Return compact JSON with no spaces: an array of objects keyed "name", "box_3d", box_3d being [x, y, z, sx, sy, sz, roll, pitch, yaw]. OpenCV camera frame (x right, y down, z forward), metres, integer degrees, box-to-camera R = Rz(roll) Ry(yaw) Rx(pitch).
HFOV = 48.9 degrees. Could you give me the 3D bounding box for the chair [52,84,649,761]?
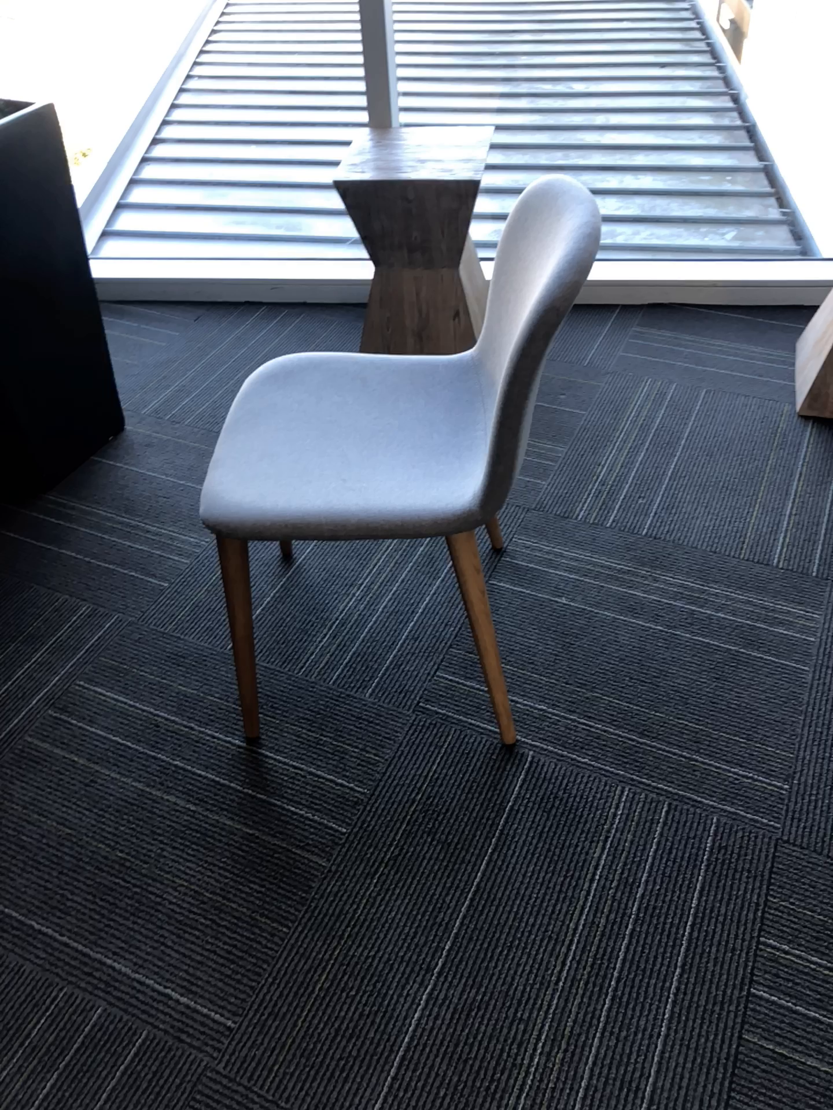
[{"name":"chair","box_3d":[-0.055,-0.187,1.421,0.610,0.846,0.563,3,41,3]}]
